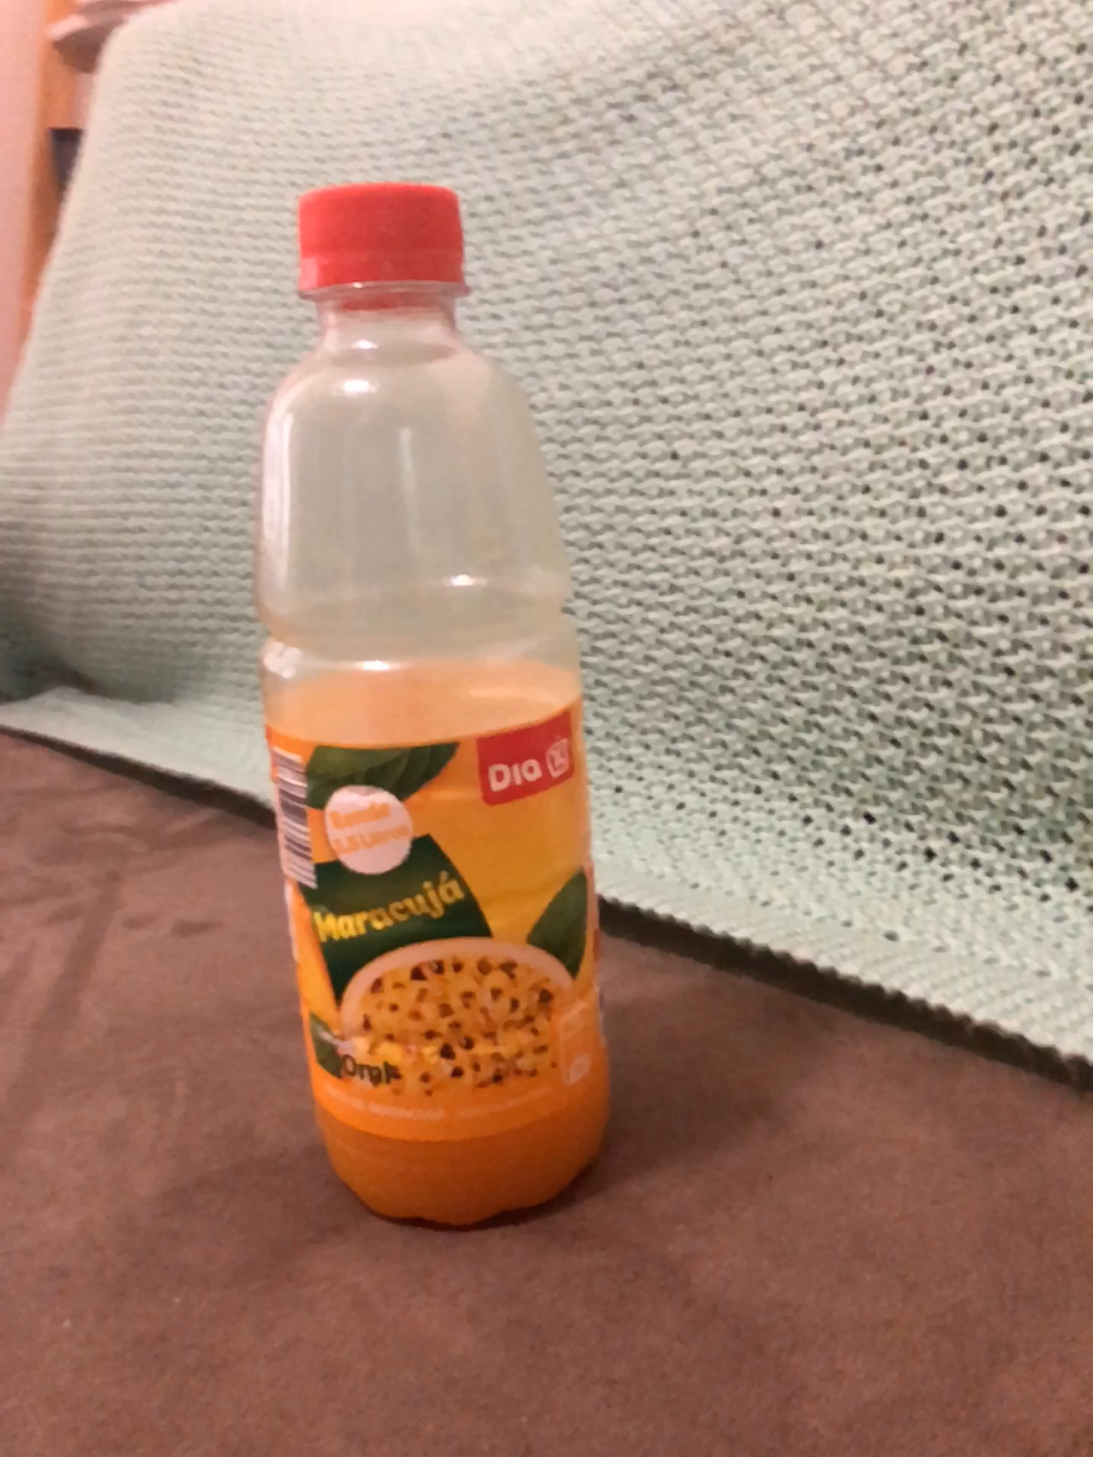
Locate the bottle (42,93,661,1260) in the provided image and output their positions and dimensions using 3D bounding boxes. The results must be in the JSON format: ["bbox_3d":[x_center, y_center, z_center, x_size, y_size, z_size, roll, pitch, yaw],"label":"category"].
[{"bbox_3d":[-0.028,-0.008,0.251,0.080,0.199,0.080,-4,14,1],"label":"bottle"}]
